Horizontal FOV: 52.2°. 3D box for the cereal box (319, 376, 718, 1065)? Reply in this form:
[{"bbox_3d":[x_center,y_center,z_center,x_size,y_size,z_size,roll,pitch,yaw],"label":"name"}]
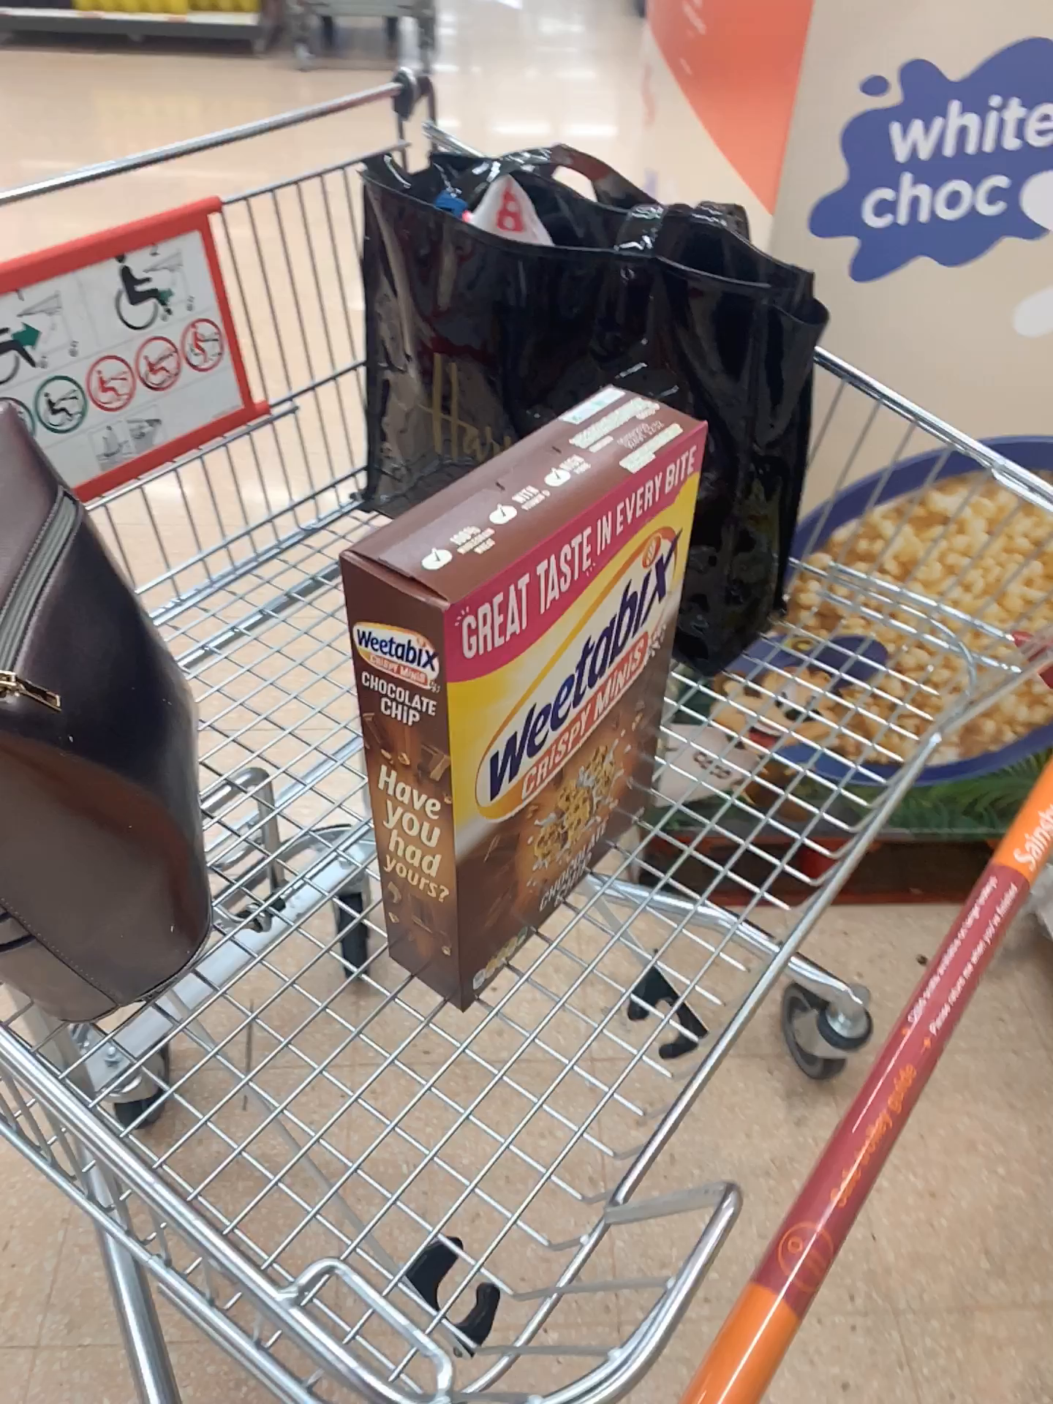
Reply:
[{"bbox_3d":[-0.002,0.020,0.597,0.070,0.327,0.211,28,47,24],"label":"cereal box"}]
